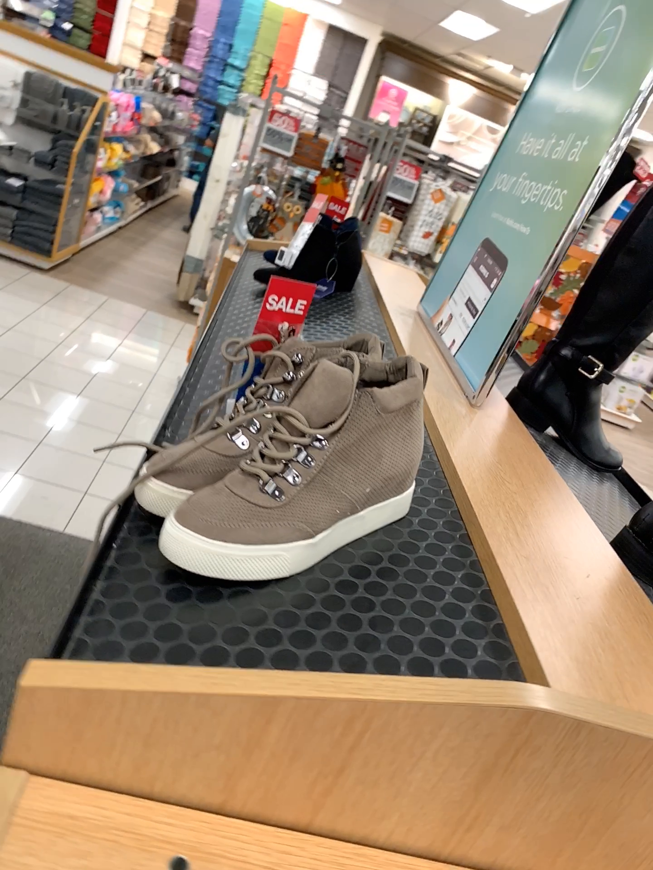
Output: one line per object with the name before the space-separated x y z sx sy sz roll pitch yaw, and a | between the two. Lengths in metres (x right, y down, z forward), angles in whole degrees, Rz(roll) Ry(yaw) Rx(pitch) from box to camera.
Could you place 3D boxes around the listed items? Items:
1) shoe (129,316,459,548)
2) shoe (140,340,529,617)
shoe | -0.027 -0.002 0.621 0.261 0.160 0.100 1 24 -37
shoe | 0.017 0.025 0.552 0.291 0.160 0.100 -2 26 -41
